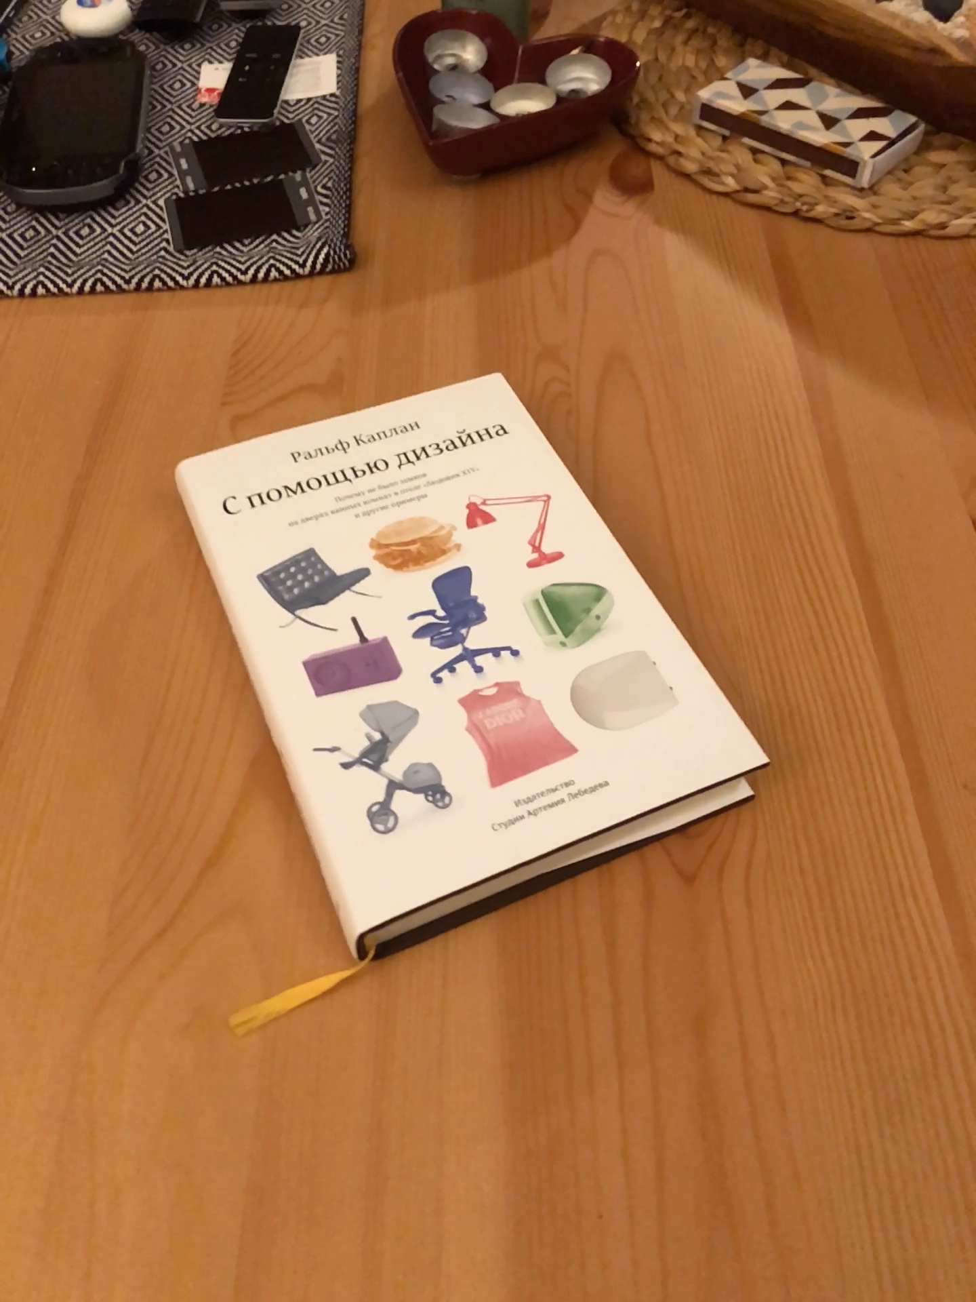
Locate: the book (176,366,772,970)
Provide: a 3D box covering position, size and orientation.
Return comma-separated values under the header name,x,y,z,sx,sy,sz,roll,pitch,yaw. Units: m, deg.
name,x,y,z,sx,sy,sz,roll,pitch,yaw
book,-0.017,-0.012,0.426,0.152,0.034,0.227,-19,56,-14
